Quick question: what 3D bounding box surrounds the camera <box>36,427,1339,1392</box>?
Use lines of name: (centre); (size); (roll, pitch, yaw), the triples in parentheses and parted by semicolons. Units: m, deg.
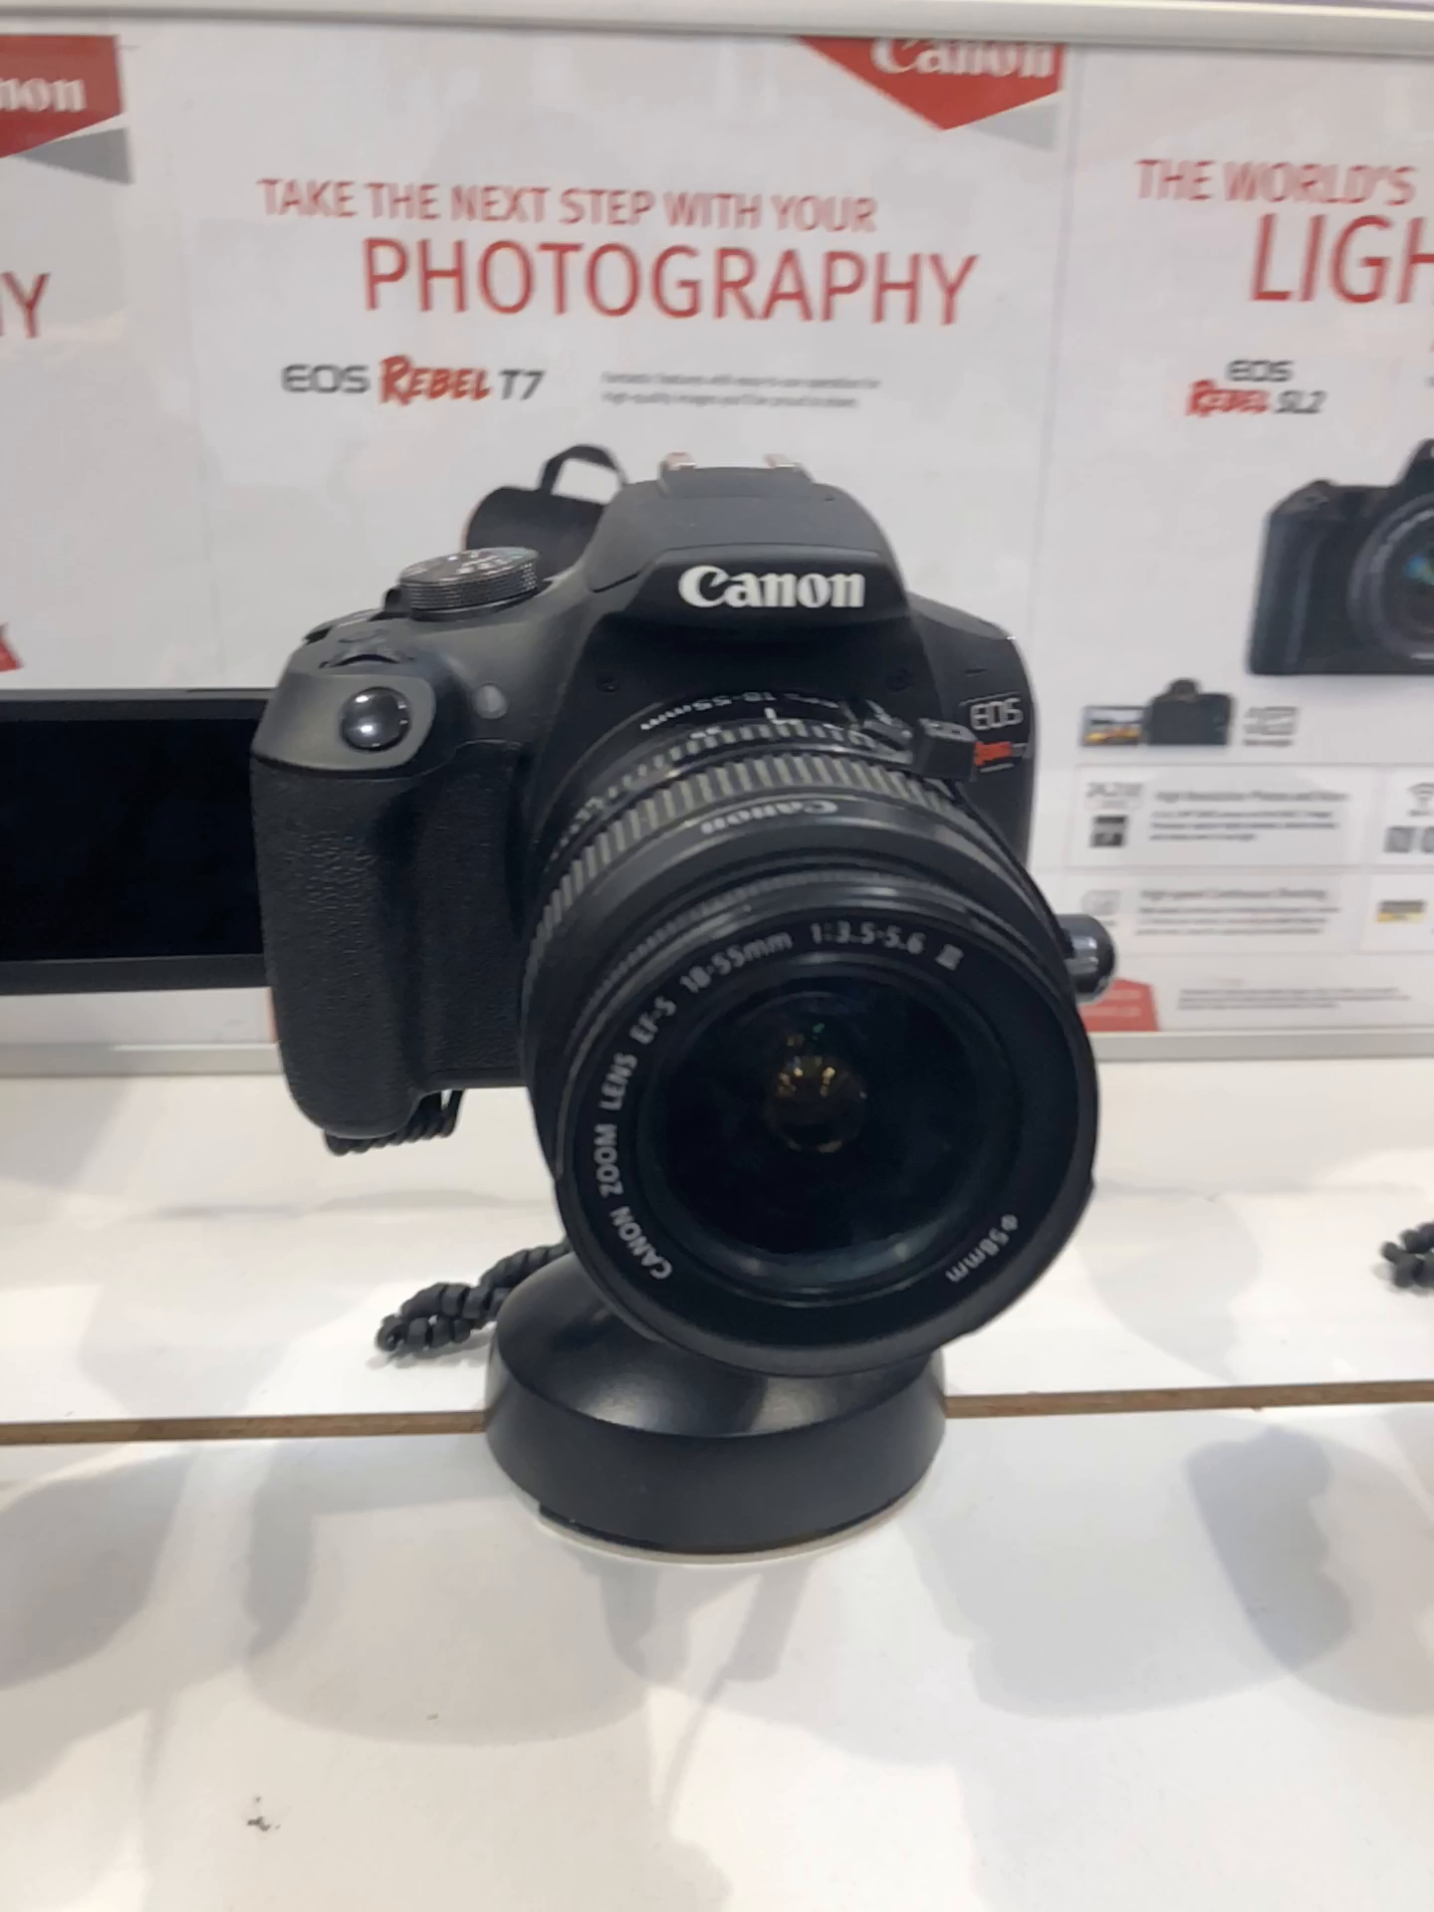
camera: (-0.006, -0.020, 0.242); (0.130, 0.099, 0.141); (0, 23, -3)
